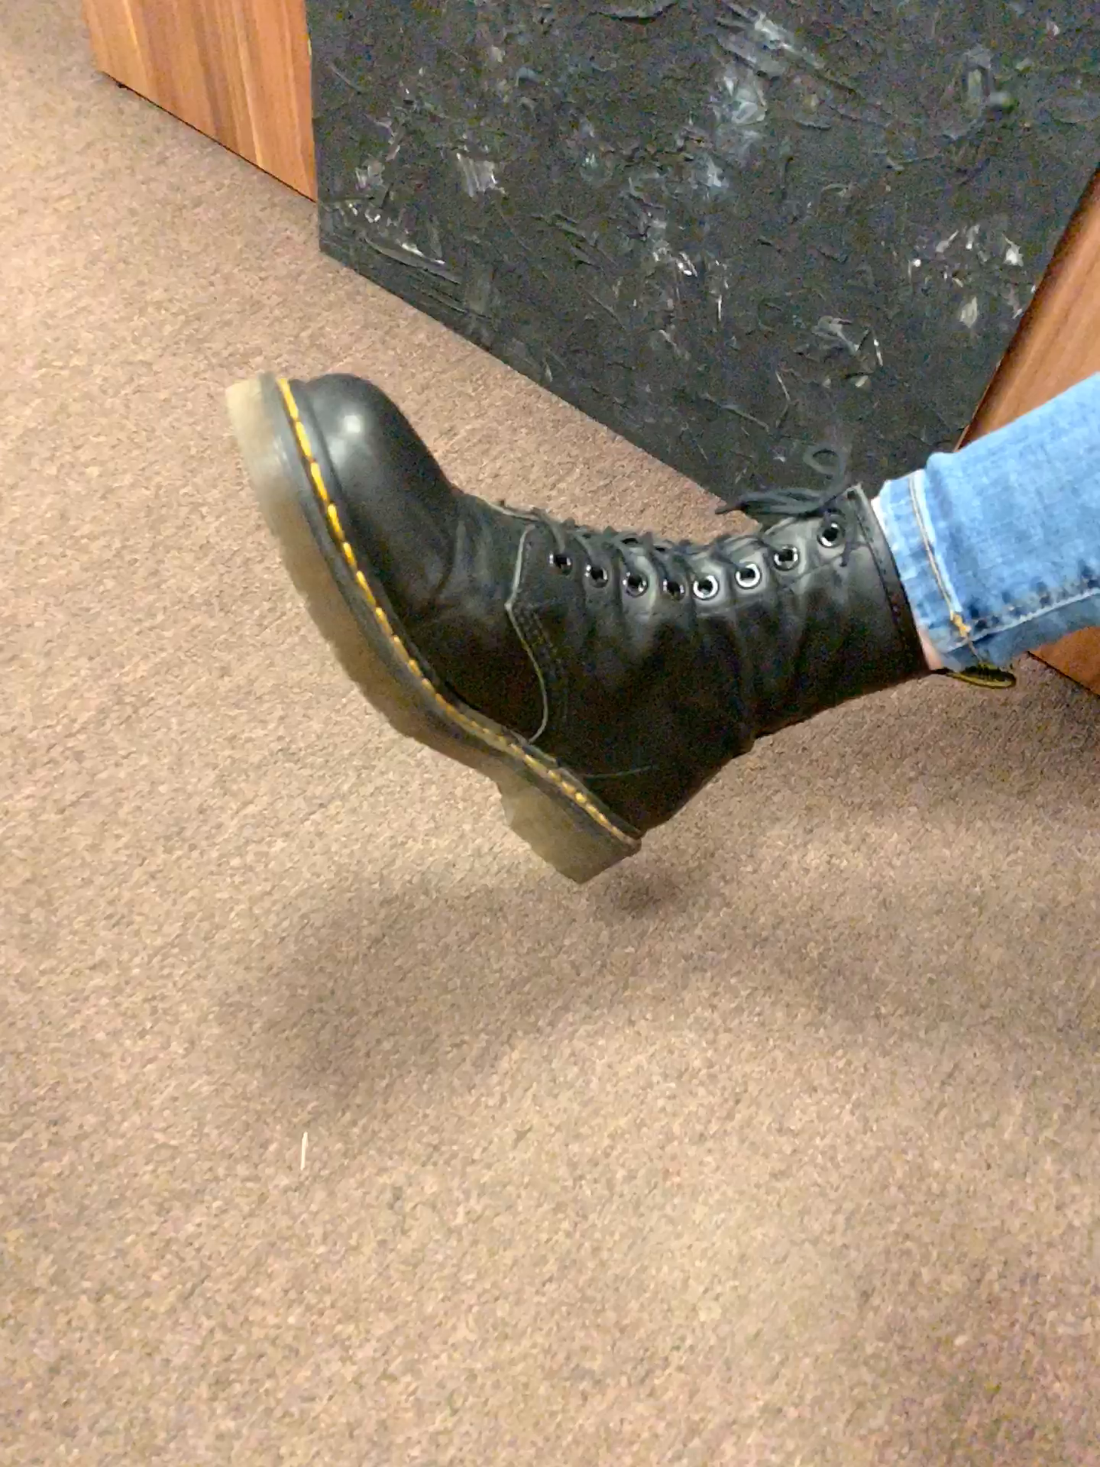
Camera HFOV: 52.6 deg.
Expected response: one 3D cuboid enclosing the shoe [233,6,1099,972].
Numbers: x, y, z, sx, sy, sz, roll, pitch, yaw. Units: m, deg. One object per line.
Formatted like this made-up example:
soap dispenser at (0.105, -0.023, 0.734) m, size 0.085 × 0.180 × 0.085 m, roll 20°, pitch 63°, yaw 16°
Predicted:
shoe at (0.083, -0.038, 0.465) m, size 0.230 × 0.369 × 0.120 m, roll -24°, pitch 59°, yaw 12°
